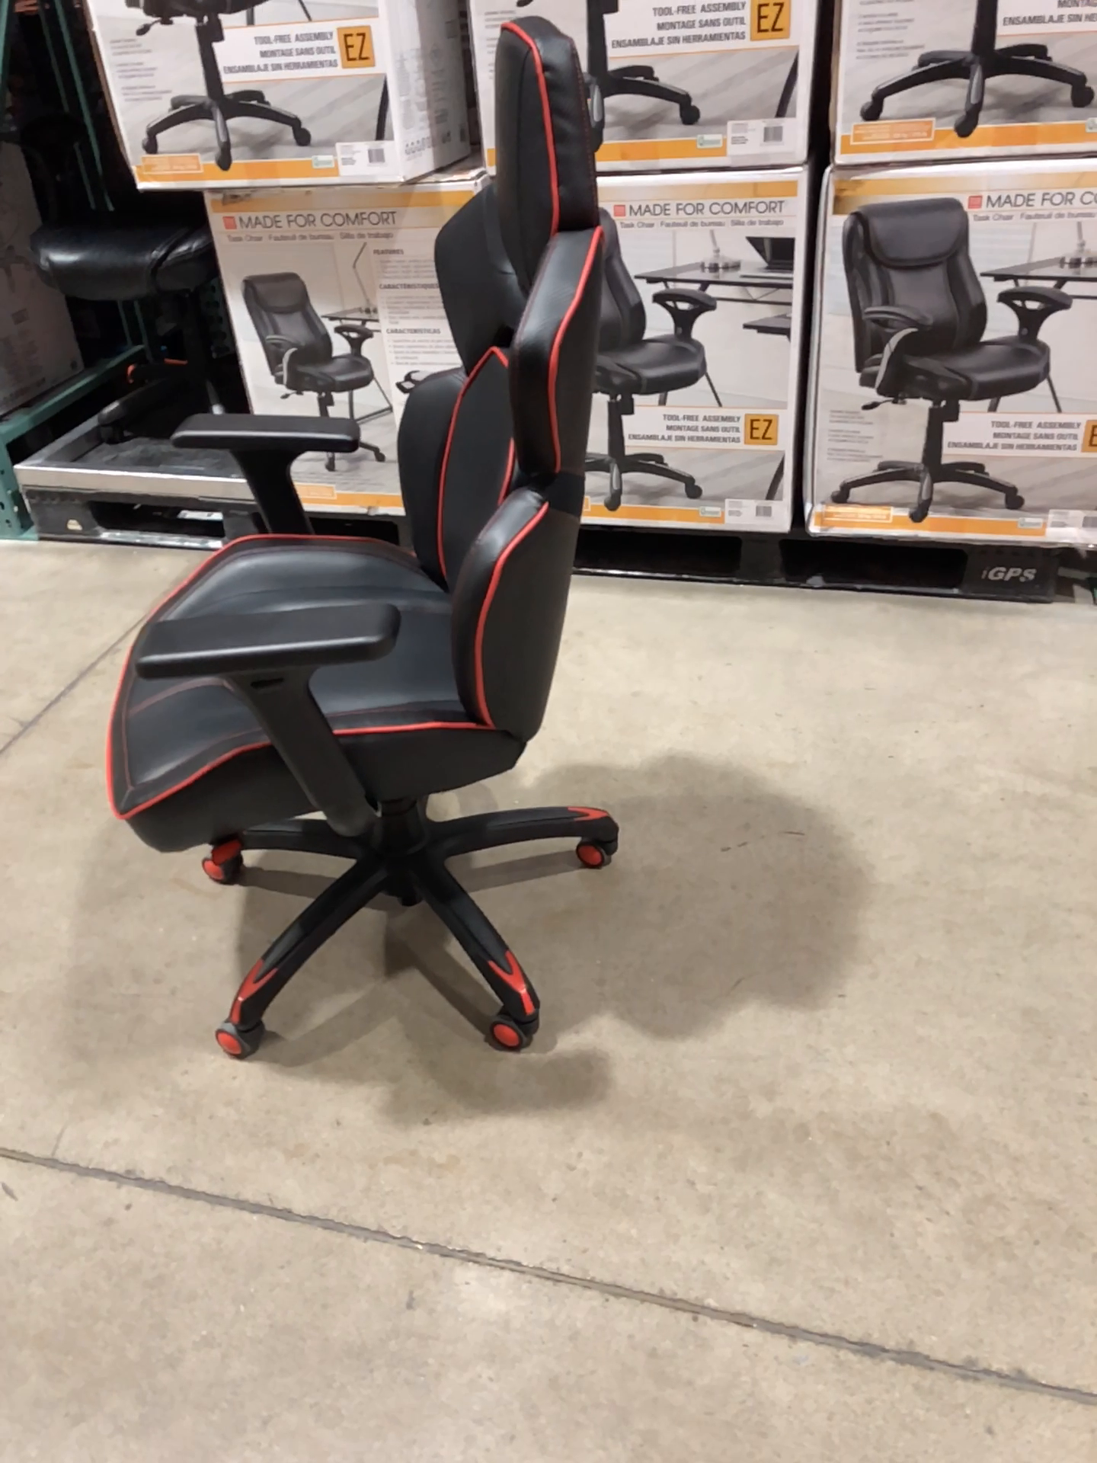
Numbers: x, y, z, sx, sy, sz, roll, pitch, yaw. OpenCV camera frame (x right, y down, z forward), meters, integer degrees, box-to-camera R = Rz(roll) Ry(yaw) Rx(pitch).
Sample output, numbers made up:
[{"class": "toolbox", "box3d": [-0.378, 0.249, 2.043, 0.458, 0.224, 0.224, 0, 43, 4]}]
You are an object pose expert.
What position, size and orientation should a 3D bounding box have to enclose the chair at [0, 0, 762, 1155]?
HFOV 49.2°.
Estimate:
[{"class": "chair", "box3d": [-0.227, -0.215, 1.523, 0.720, 1.145, 0.723, -13, 35, -11]}]
